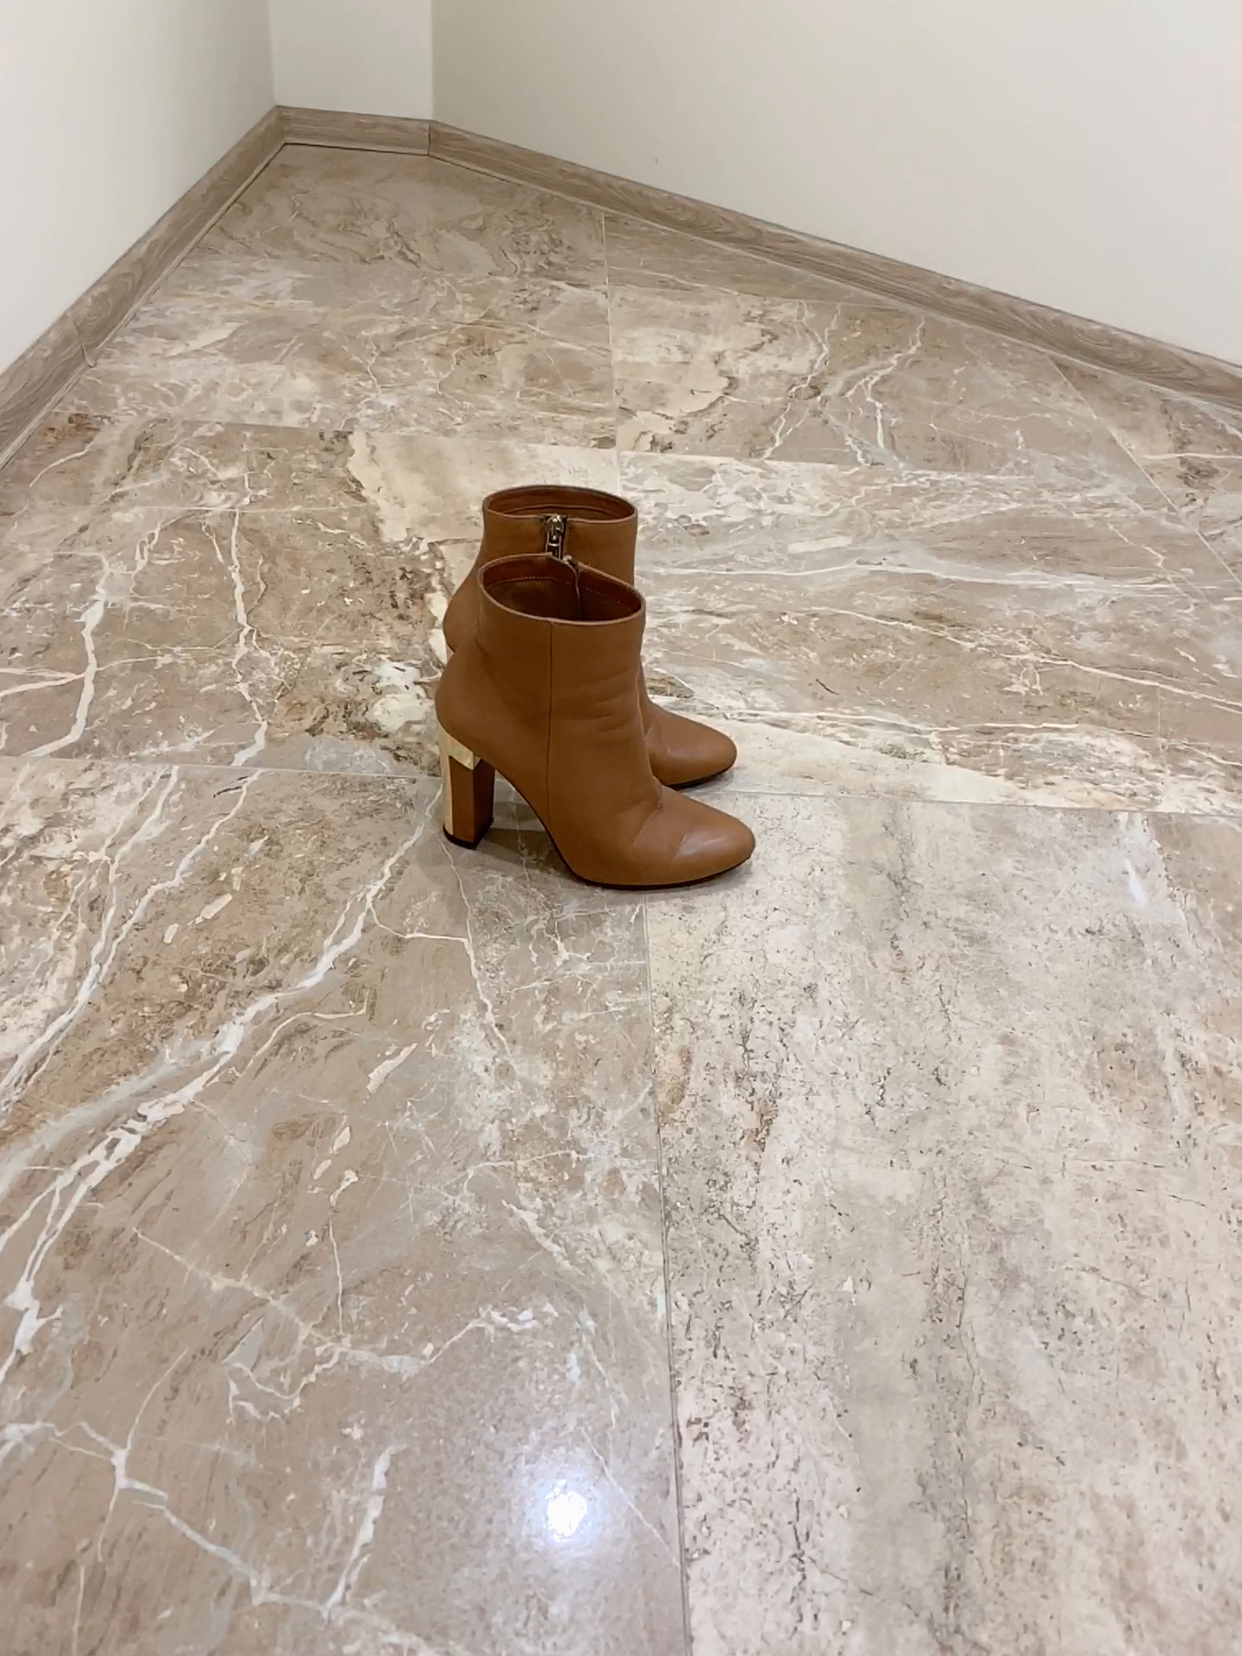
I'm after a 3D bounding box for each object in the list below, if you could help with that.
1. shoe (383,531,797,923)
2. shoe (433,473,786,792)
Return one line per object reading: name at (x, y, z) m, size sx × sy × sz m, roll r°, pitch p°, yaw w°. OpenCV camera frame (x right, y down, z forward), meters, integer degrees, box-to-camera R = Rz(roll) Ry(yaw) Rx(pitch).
shoe at (-0.021, -0.059, 0.768) m, size 0.220 × 0.184 × 0.091 m, roll 9°, pitch 38°, yaw 4°
shoe at (-0.015, -0.126, 0.842) m, size 0.210 × 0.175 × 0.091 m, roll 3°, pitch 38°, yaw -5°
